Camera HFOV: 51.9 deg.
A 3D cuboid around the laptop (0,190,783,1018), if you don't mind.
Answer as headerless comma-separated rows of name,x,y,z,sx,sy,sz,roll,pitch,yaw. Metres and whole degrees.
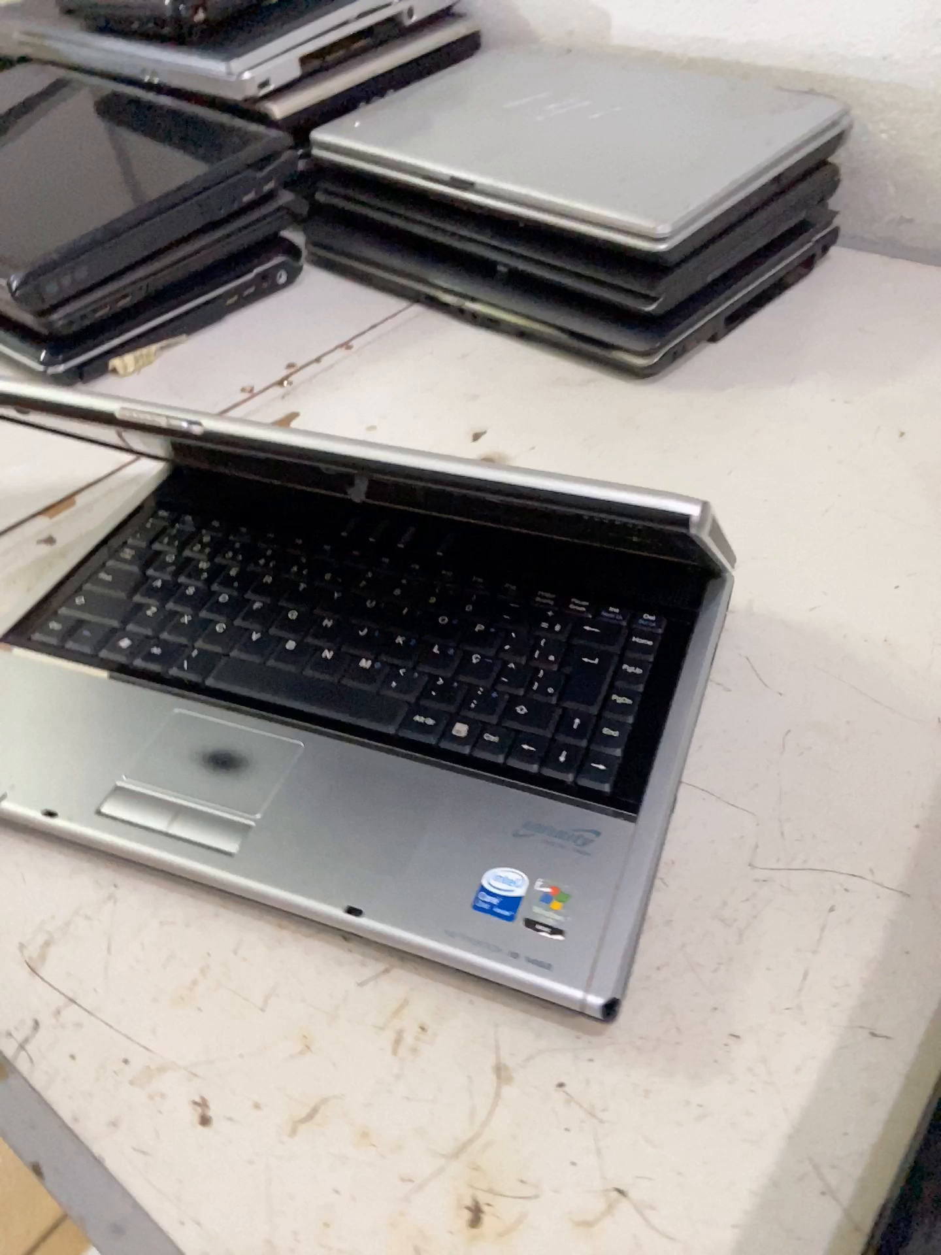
laptop,-0.072,-0.039,0.392,0.330,0.164,0.228,13,46,17
